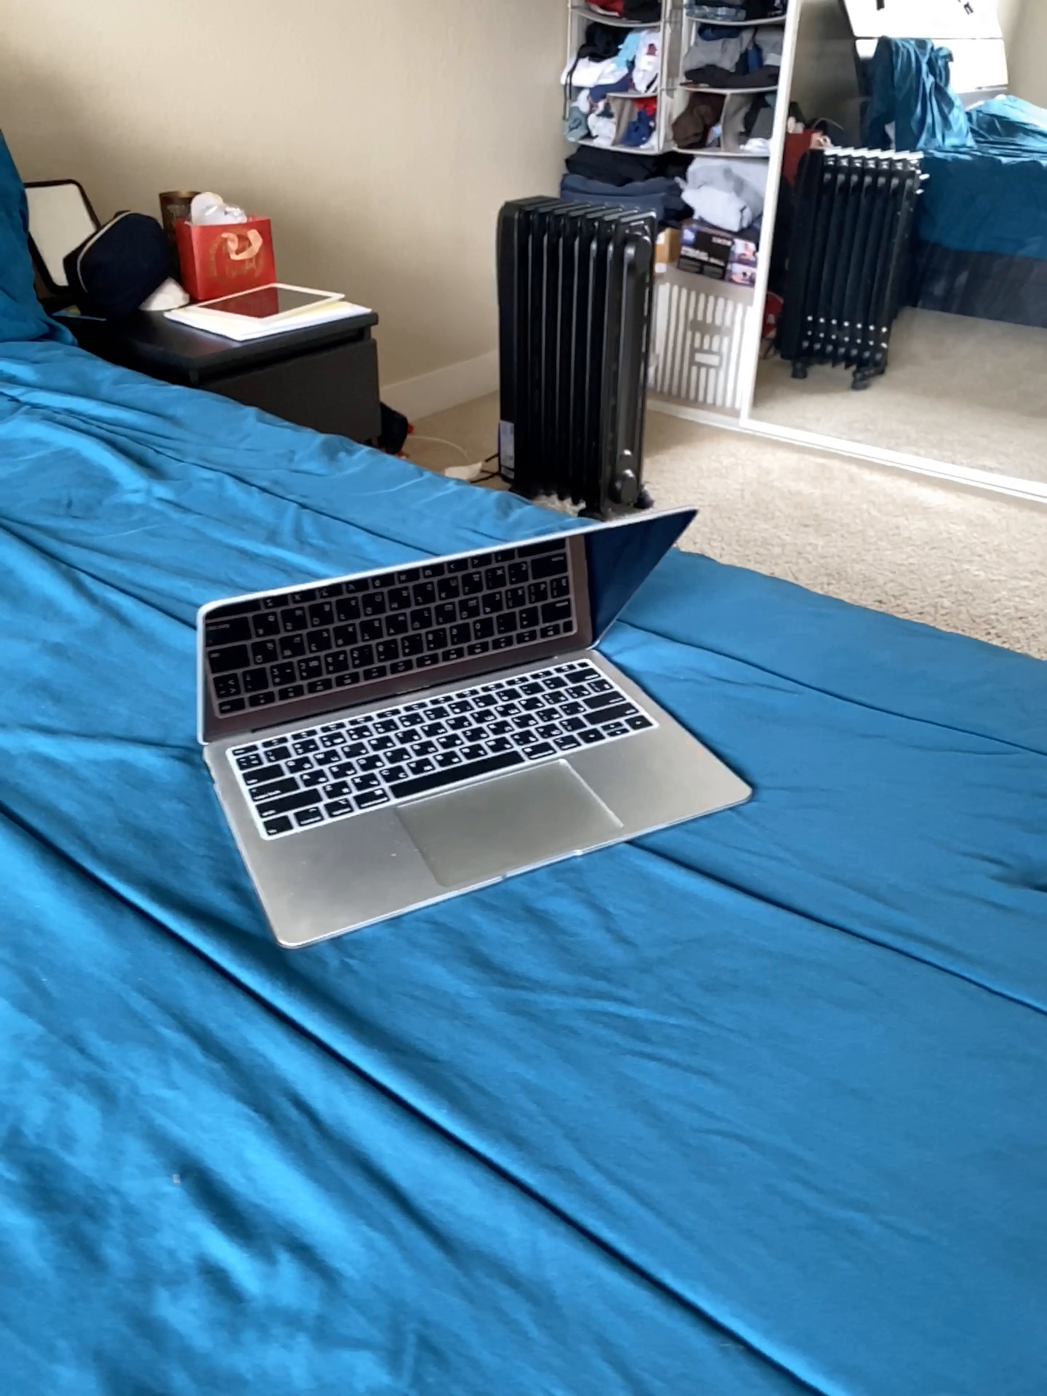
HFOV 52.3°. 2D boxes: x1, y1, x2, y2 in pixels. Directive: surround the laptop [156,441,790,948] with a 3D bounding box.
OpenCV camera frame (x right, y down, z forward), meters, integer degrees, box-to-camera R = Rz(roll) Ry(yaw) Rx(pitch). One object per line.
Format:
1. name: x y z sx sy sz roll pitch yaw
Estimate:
1. laptop: -0.037 -0.025 0.644 0.295 0.161 0.216 -15 34 -21
